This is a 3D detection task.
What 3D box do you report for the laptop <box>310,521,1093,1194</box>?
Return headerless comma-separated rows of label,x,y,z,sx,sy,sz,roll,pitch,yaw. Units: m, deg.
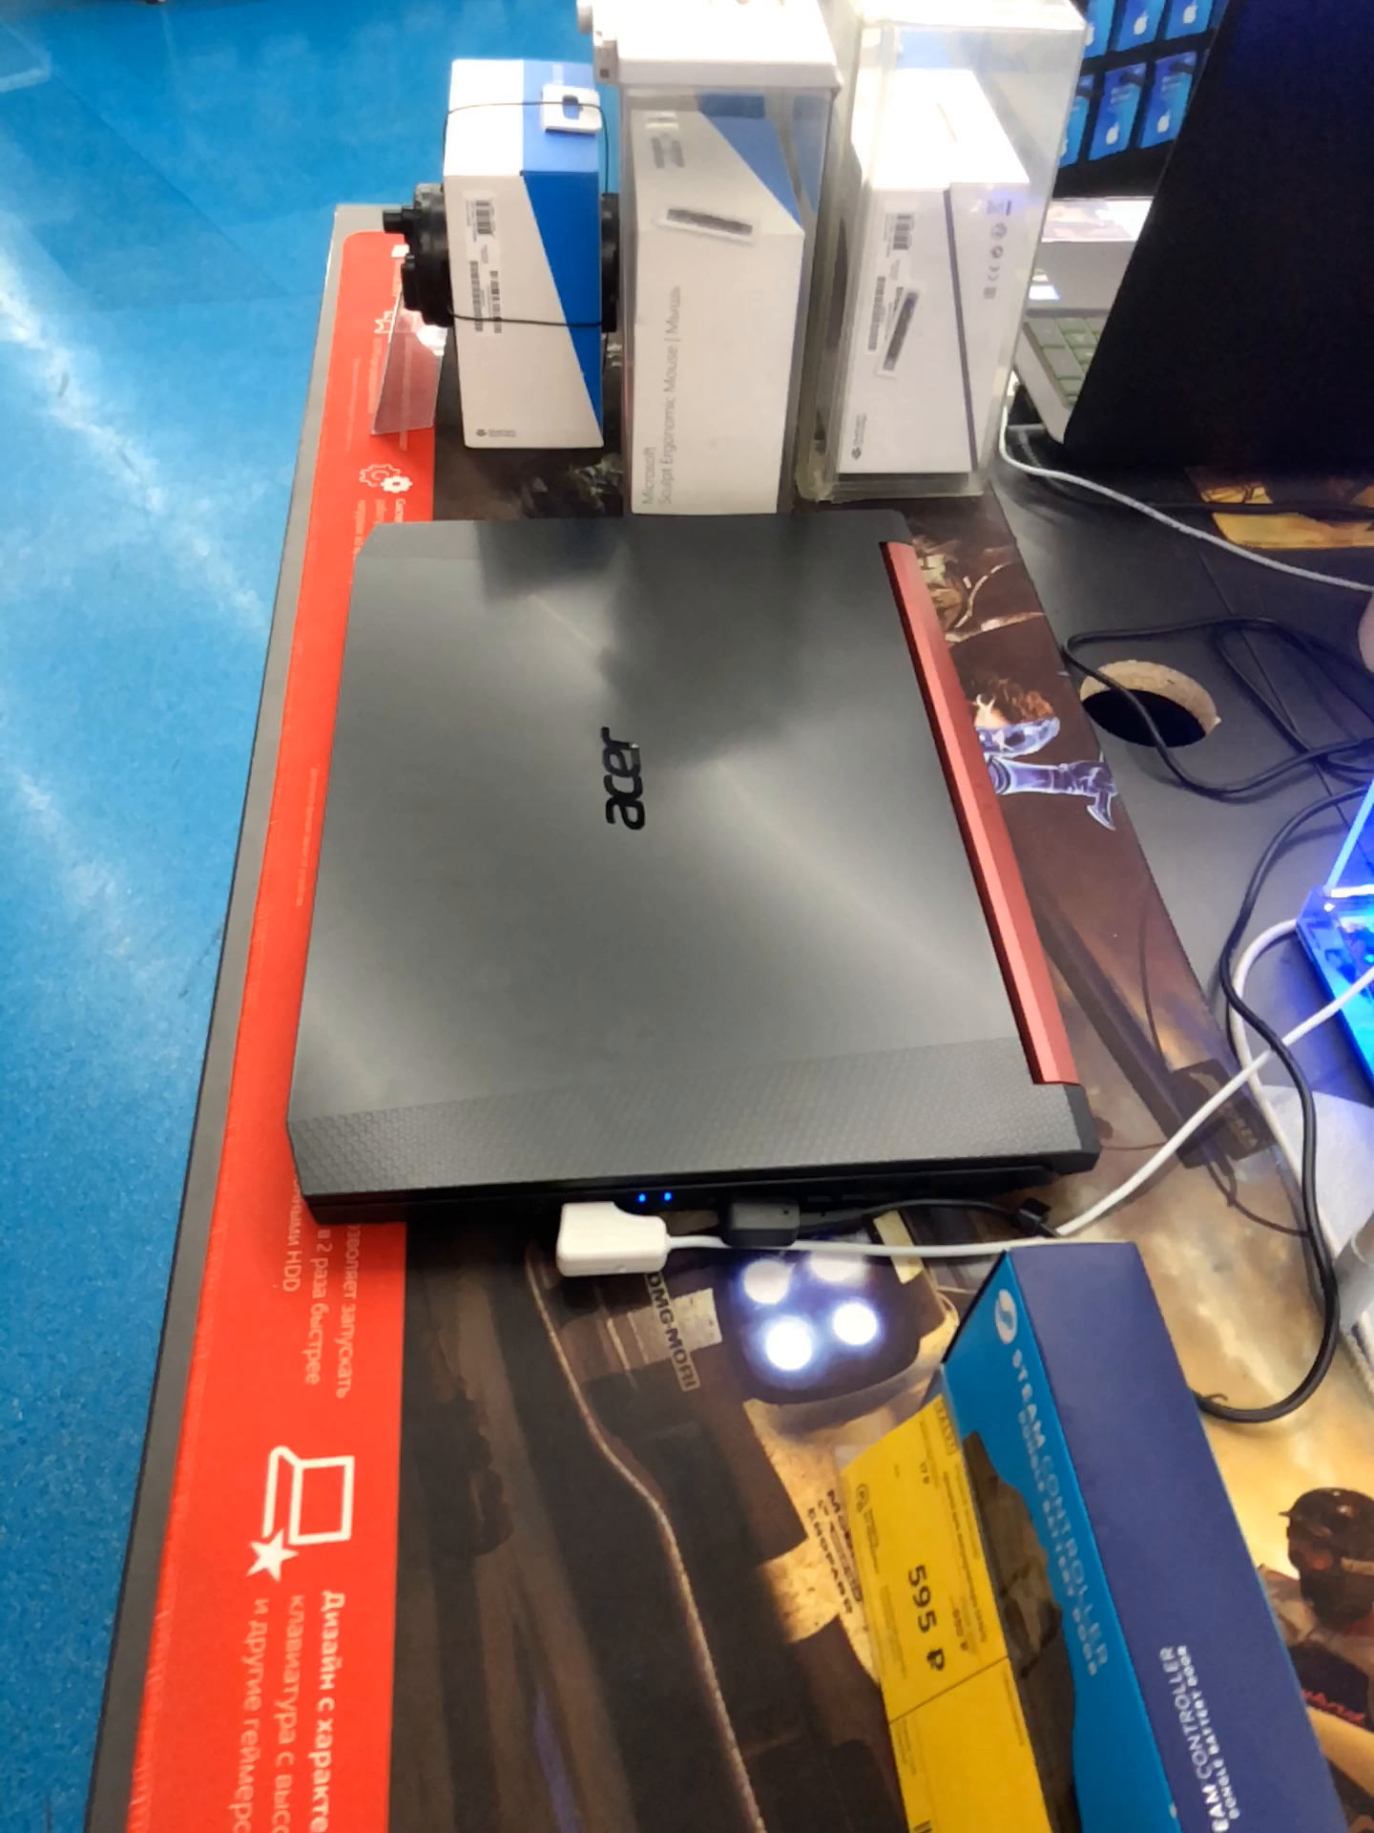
laptop,-0.009,-0.051,0.585,0.242,0.005,0.352,-3,47,-4
